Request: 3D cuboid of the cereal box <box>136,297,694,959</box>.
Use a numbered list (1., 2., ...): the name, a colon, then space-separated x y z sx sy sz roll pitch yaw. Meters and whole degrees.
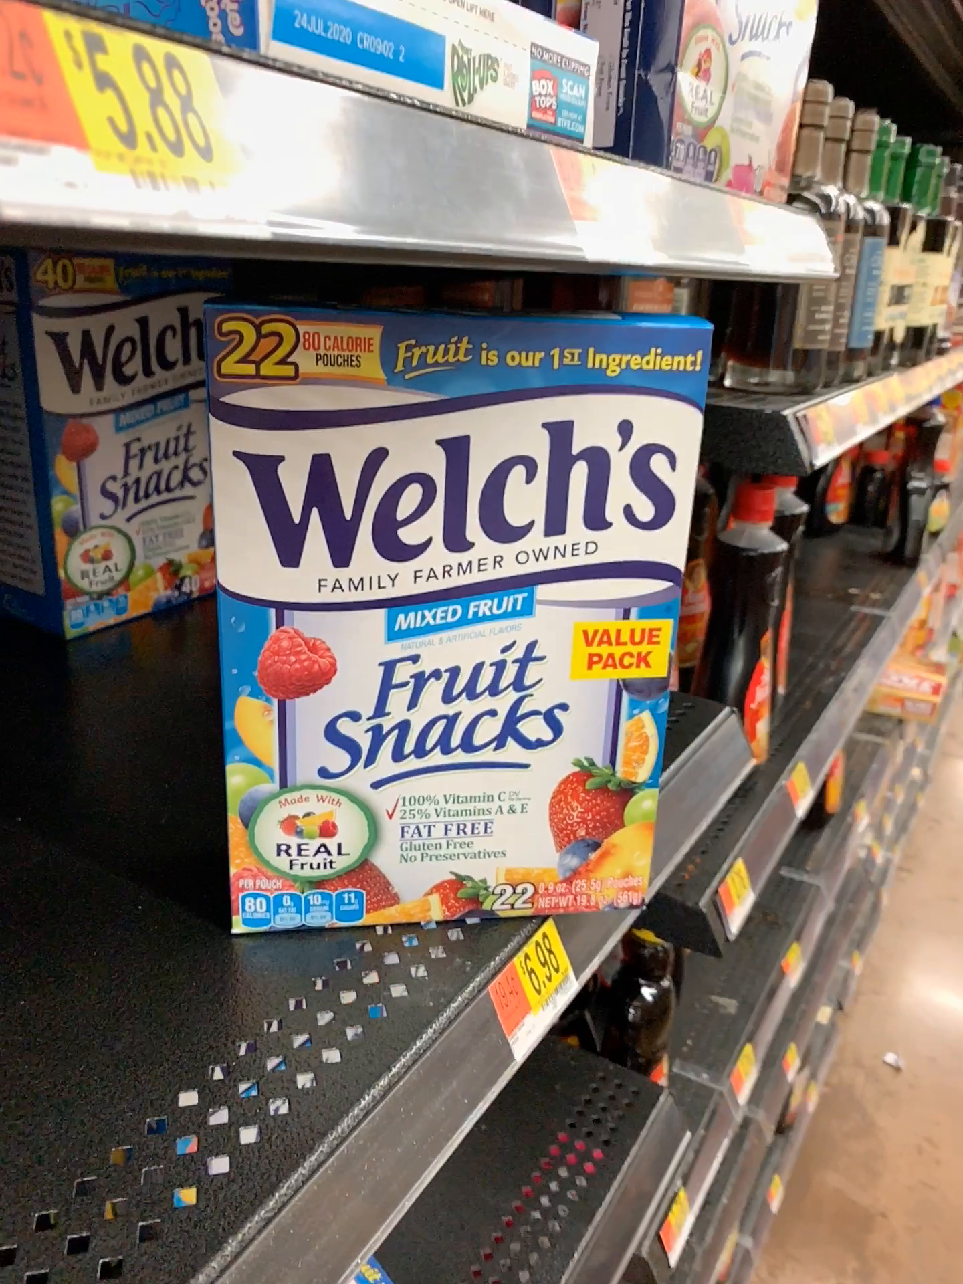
1. cereal box: -0.024 -0.004 0.371 0.170 0.229 0.060 -2 20 -9
